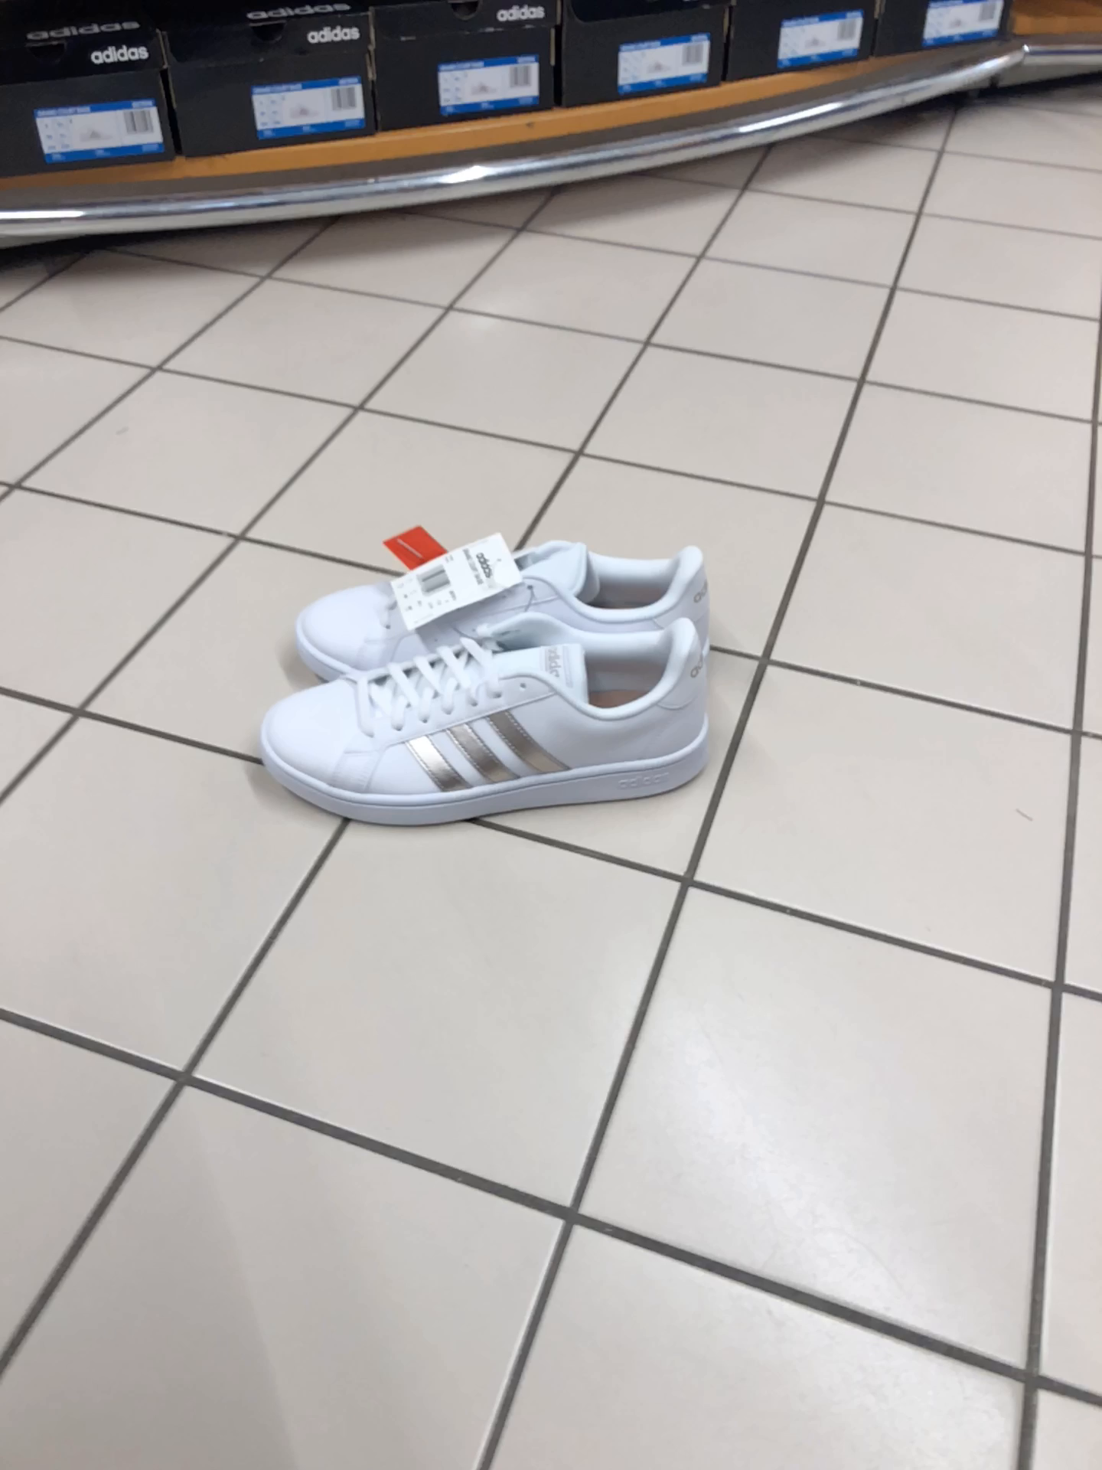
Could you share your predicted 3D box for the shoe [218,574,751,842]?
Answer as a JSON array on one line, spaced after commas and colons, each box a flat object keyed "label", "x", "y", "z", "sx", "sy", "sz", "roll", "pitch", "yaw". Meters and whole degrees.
[{"label": "shoe", "x": -0.038, "y": -0.017, "z": 0.709, "sx": 0.280, "sy": 0.099, "sz": 0.101, "roll": -3, "pitch": 44, "yaw": -5}]

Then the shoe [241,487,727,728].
[{"label": "shoe", "x": -0.037, "y": -0.081, "z": 0.768, "sx": 0.280, "sy": 0.099, "sz": 0.101, "roll": 2, "pitch": 44, "yaw": 1}]
